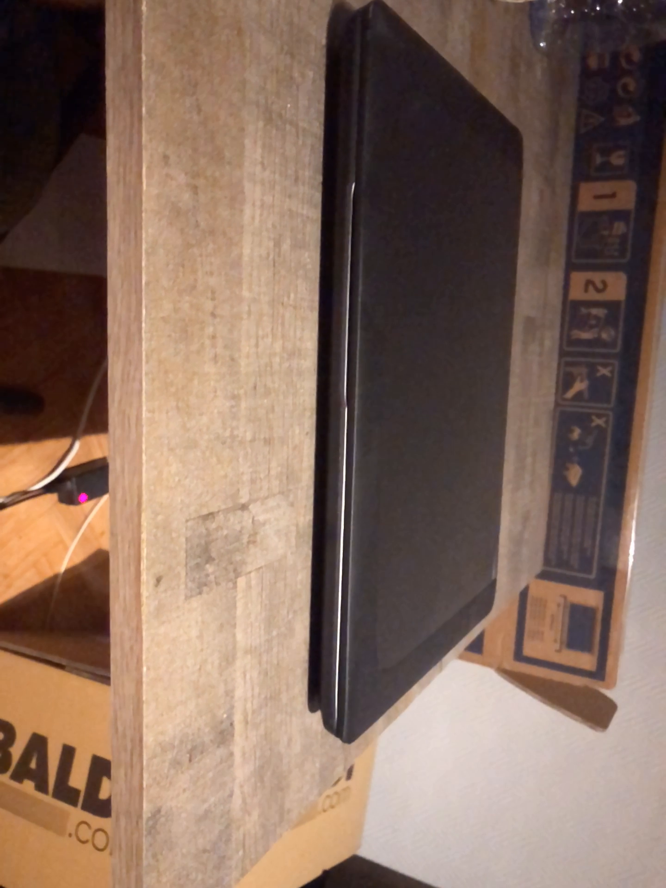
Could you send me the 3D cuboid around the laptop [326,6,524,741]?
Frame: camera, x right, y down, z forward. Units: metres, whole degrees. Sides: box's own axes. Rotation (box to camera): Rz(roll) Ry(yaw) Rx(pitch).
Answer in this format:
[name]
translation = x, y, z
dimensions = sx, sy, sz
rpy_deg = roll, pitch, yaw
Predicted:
[laptop]
translation = 0.069, -0.035, 0.476
dimensions = 0.242, 0.017, 0.365
rpy_deg = -13, 107, -59
